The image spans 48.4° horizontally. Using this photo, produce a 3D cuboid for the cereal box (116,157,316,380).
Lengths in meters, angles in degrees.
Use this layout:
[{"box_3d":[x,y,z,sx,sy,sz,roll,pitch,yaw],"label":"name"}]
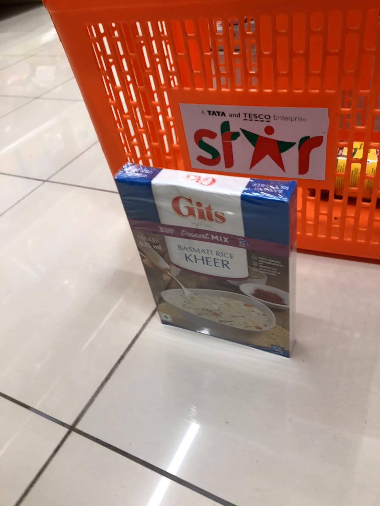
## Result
[{"box_3d":[0.024,0.015,0.306,0.120,0.159,0.030,12,44,25],"label":"cereal box"}]
